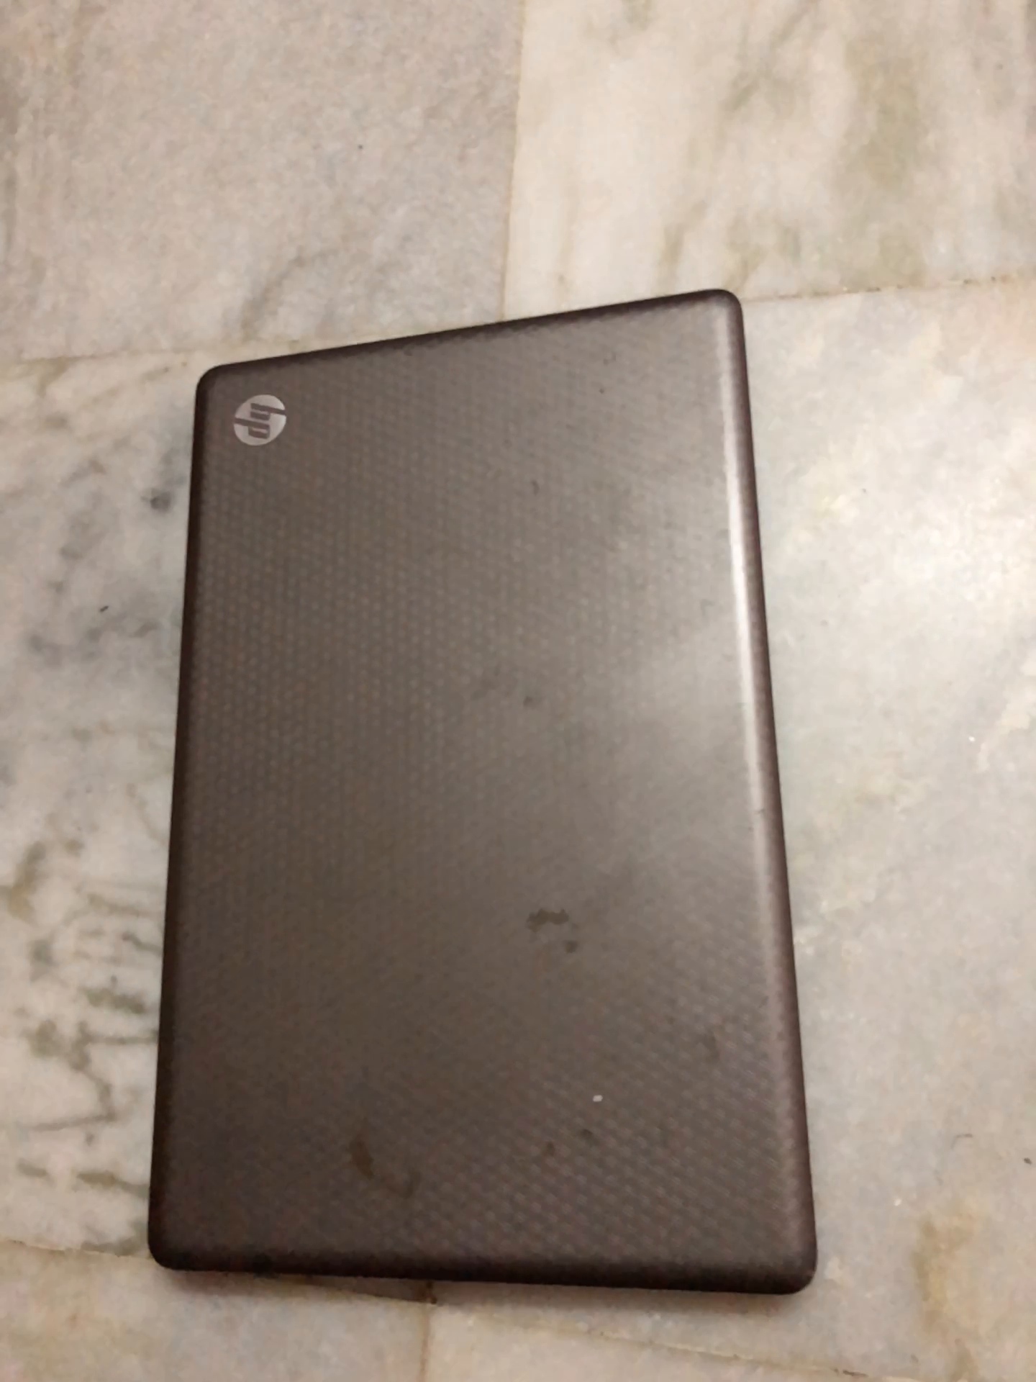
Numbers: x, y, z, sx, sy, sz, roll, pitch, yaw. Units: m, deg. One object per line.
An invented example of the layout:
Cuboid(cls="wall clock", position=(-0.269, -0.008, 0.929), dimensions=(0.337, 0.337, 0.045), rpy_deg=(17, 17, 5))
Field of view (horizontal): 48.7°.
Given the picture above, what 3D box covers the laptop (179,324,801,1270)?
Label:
Cuboid(cls="laptop", position=(-0.021, 0.033, 0.485), dimensions=(0.248, 0.002, 0.378), rpy_deg=(-4, 76, 14))
